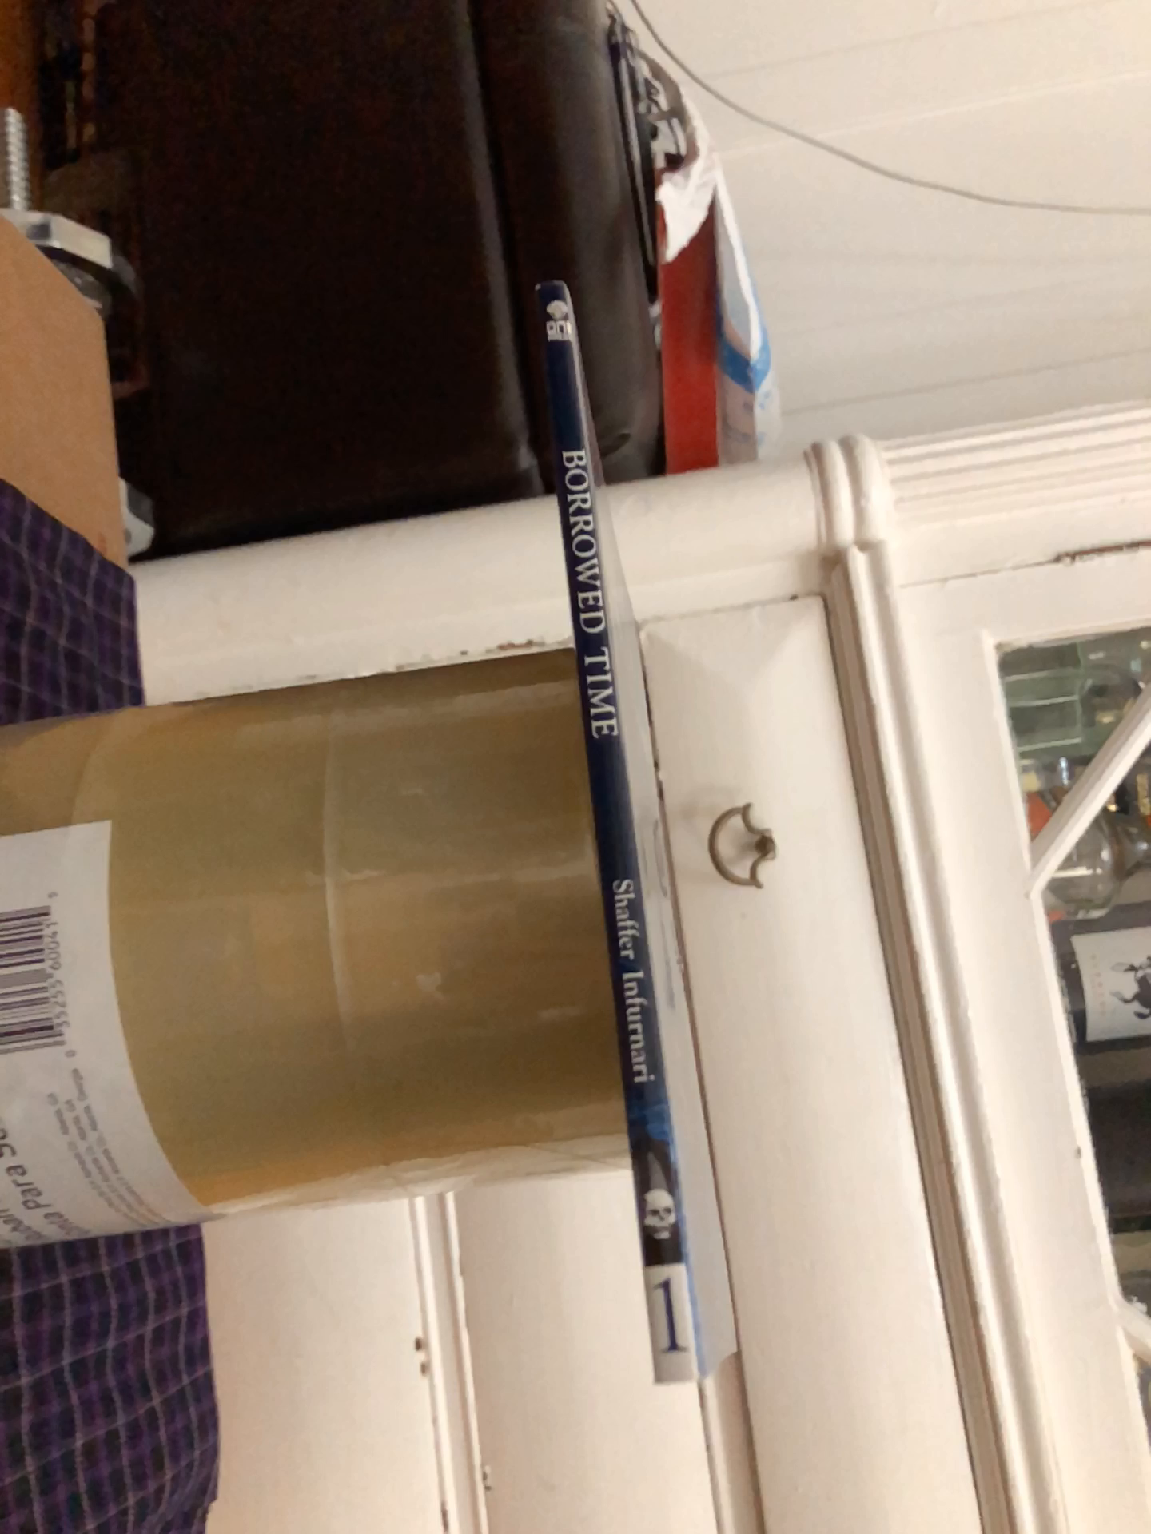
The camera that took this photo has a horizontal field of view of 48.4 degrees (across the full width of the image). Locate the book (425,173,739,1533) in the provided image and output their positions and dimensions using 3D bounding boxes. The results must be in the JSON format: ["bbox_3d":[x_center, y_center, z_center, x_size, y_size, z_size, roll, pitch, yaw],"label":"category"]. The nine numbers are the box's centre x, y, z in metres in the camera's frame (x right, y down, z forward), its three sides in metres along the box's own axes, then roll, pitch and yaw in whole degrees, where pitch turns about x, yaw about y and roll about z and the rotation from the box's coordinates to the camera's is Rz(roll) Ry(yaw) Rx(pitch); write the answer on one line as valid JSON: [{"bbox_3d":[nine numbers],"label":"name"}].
[{"bbox_3d":[0.004,0.028,0.256,0.160,0.010,0.230,72,8,-64],"label":"book"}]
